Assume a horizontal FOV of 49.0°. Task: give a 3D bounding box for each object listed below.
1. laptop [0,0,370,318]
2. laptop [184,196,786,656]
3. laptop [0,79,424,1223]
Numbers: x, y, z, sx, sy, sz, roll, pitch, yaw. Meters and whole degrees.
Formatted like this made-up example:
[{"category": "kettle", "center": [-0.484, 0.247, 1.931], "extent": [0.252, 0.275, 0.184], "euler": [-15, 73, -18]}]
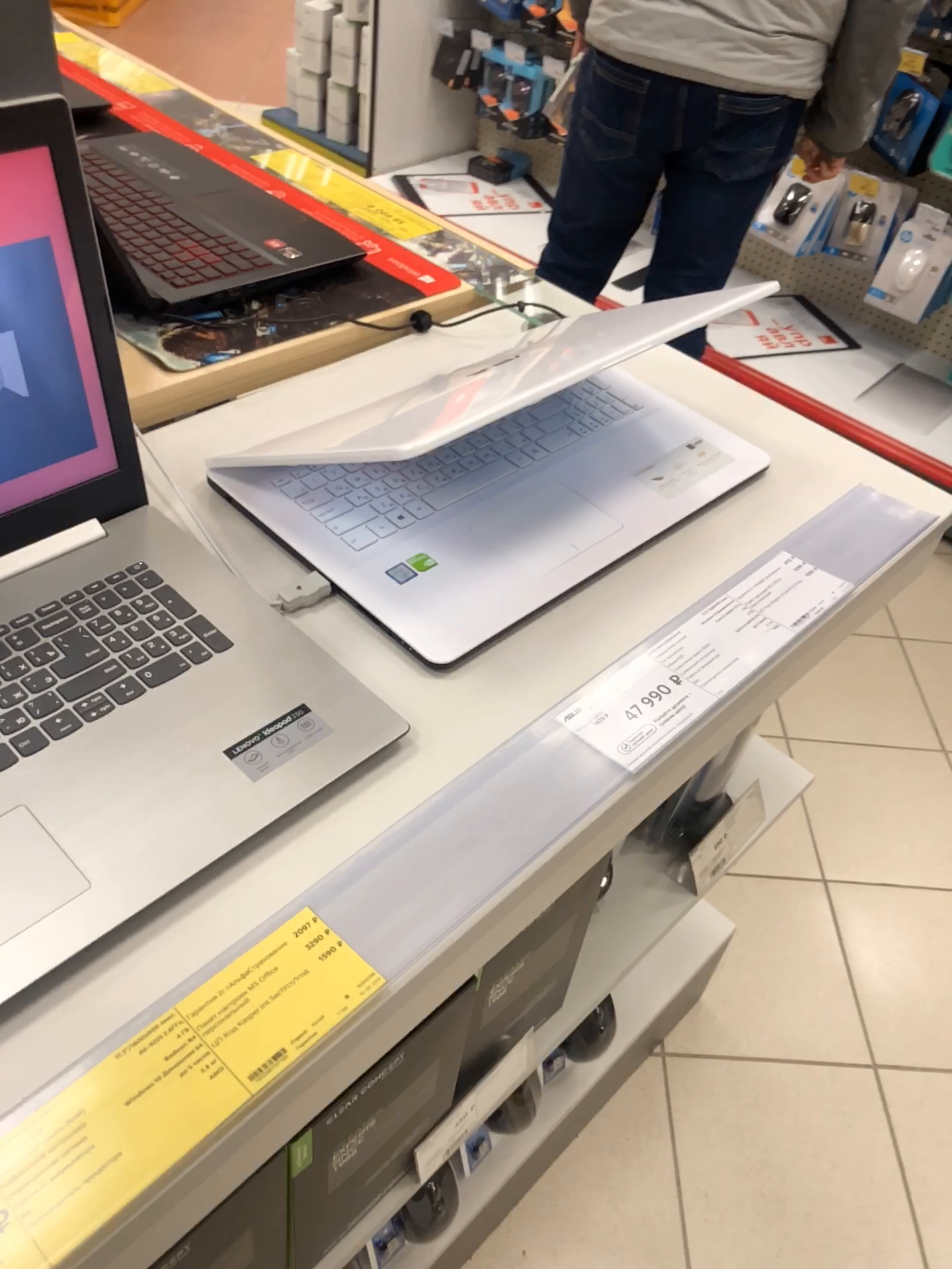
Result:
[{"category": "laptop", "center": [-0.391, -0.515, 0.974], "extent": [0.366, 0.220, 0.378], "euler": [-27, 56, -33]}, {"category": "laptop", "center": [0.017, -0.191, 0.811], "extent": [0.257, 0.142, 0.392], "euler": [35, 47, 26]}, {"category": "laptop", "center": [-0.304, -0.044, 0.479], "extent": [0.337, 0.262, 0.393], "euler": [34, 47, 25]}]
